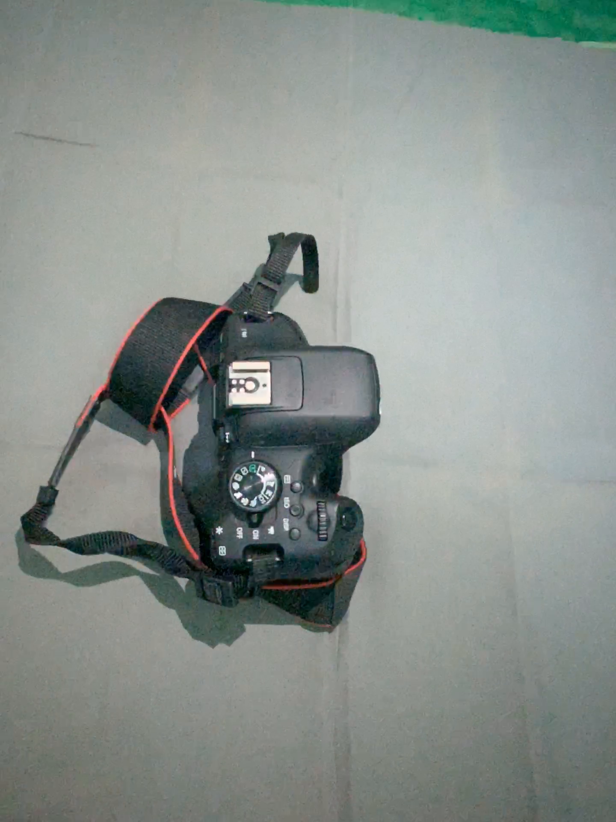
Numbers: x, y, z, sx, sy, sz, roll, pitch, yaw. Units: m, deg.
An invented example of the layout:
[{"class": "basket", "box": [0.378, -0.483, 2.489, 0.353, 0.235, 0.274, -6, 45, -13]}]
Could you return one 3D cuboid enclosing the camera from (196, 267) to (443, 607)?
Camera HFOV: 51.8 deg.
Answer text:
[{"class": "camera", "box": [0.000, 0.017, 0.295, 0.090, 0.088, 0.132, 2, 67, -6]}]
